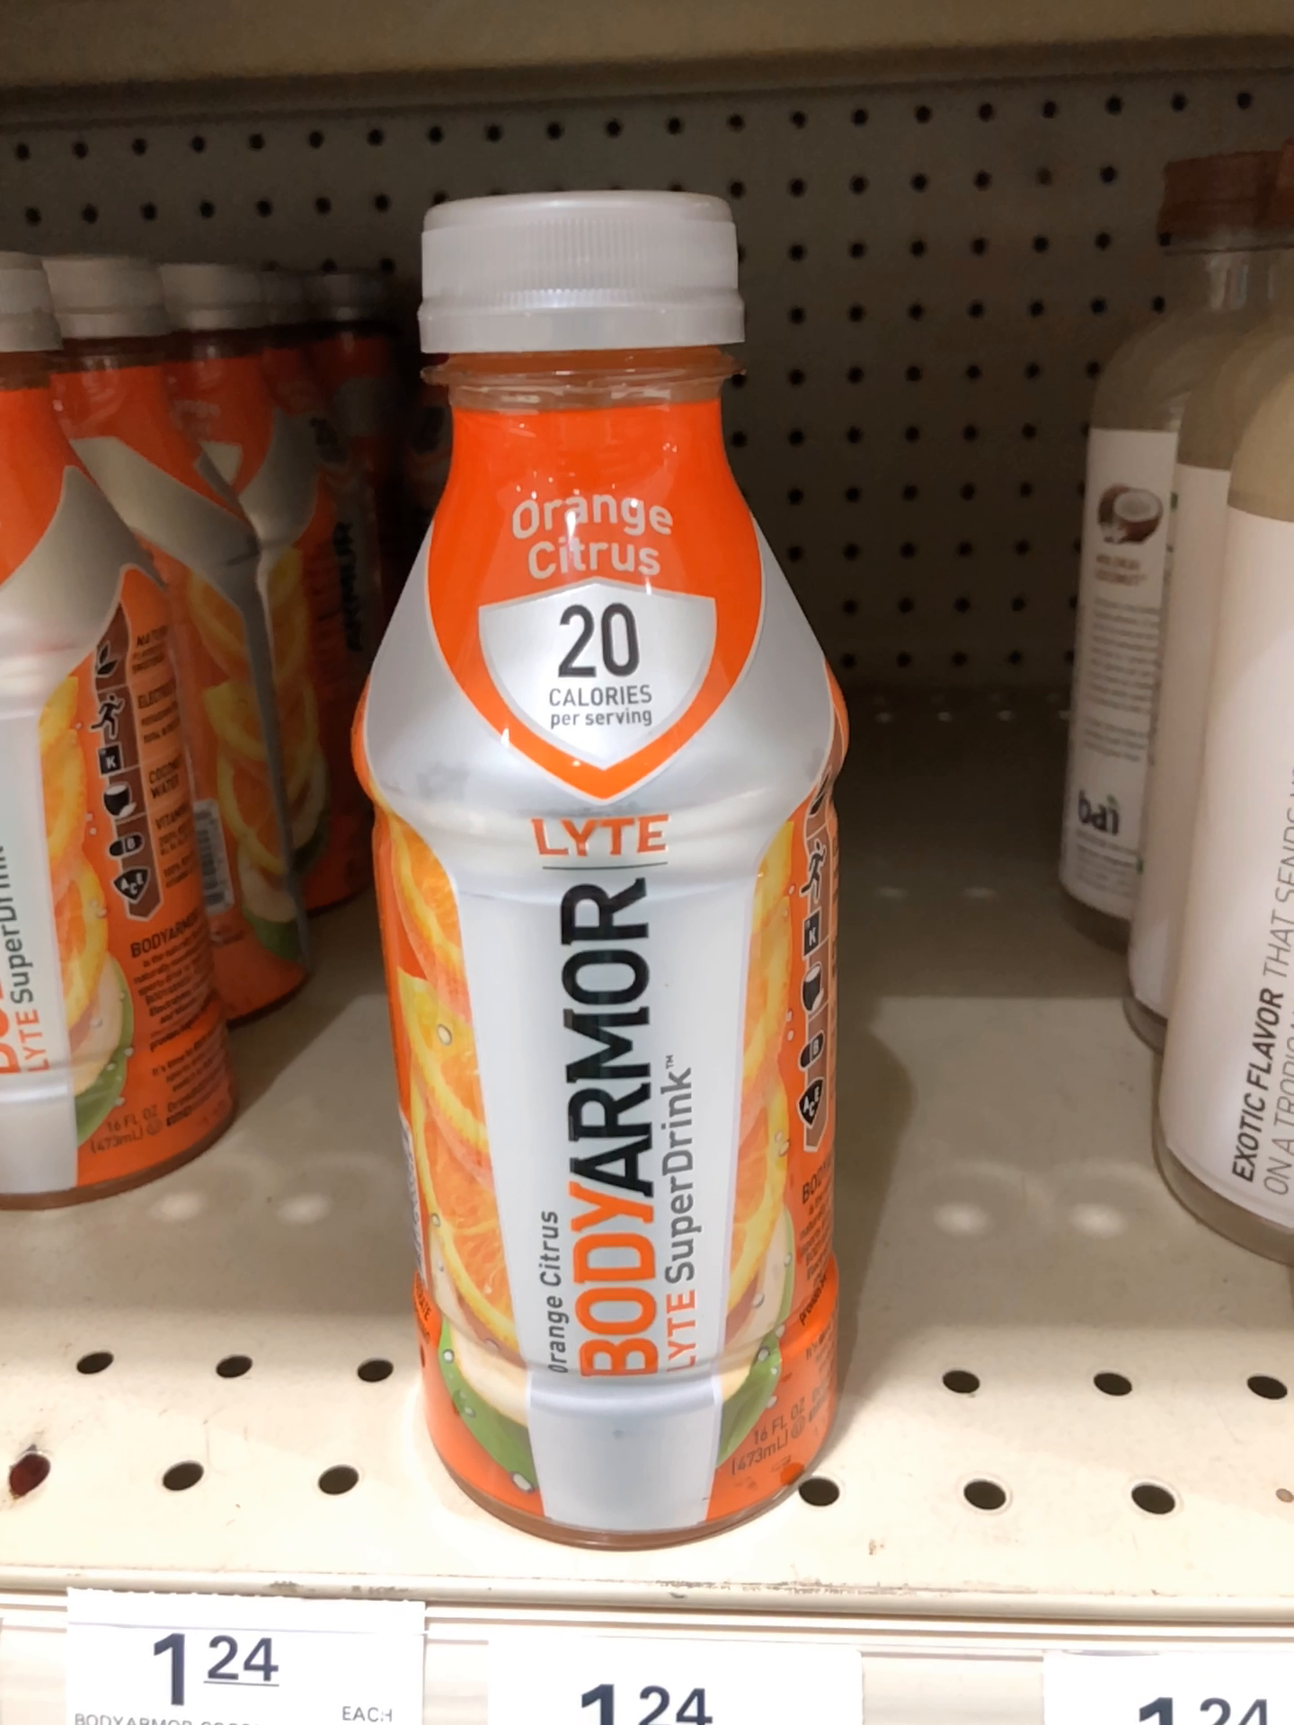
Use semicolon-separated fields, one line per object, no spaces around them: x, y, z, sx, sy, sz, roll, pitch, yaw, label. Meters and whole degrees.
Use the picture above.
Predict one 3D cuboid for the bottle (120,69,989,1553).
-0.005;-0.004;0.204;0.080;0.180;0.080;-2;22;1;bottle
